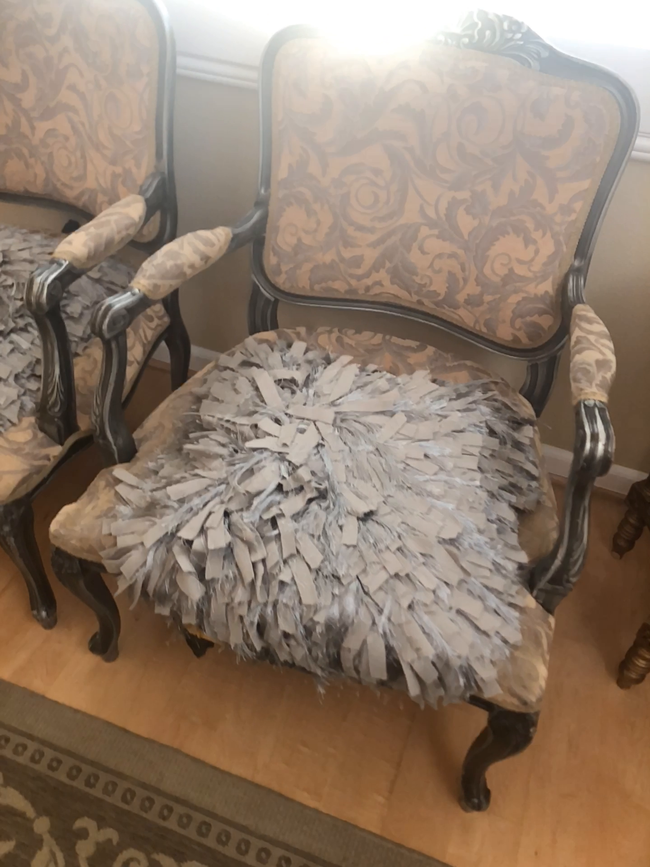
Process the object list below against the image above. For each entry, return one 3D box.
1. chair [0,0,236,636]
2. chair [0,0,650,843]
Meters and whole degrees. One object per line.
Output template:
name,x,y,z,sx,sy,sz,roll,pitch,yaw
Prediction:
chair,-0.633,-0.287,1.226,0.690,0.951,0.605,22,48,18
chair,0.080,-0.076,1.066,0.740,0.852,0.787,16,46,13
